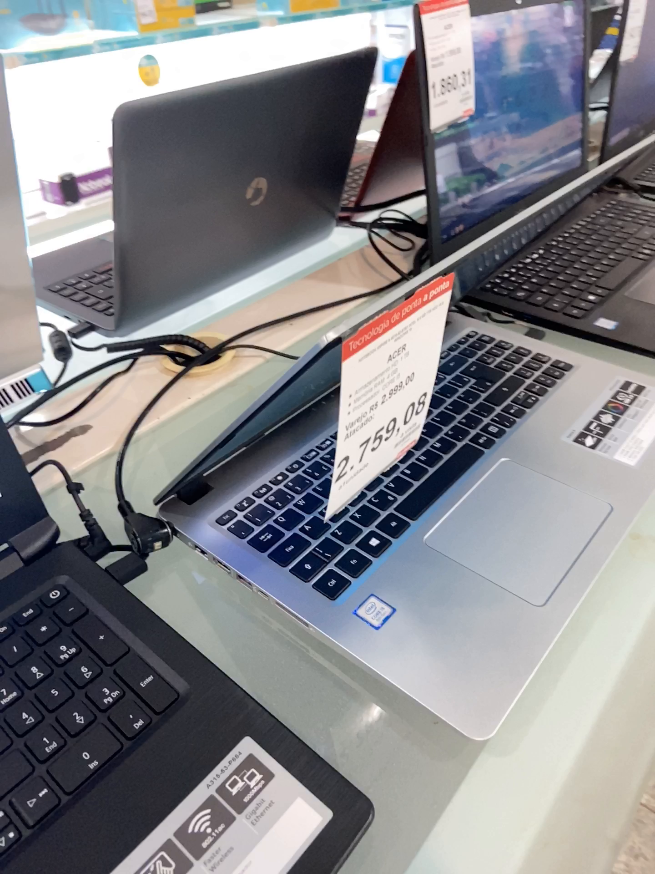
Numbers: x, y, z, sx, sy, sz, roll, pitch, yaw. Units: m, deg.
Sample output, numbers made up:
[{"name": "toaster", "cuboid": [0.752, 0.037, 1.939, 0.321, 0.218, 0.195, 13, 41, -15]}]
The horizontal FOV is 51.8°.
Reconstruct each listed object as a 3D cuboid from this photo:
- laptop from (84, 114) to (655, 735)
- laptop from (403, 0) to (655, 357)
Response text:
[{"name": "laptop", "cuboid": [0.088, -0.063, 0.425, 0.236, 0.175, 0.354, 25, 44, 31]}, {"name": "laptop", "cuboid": [0.307, -0.303, 0.682, 0.288, 0.238, 0.356, 26, 46, 32]}]
